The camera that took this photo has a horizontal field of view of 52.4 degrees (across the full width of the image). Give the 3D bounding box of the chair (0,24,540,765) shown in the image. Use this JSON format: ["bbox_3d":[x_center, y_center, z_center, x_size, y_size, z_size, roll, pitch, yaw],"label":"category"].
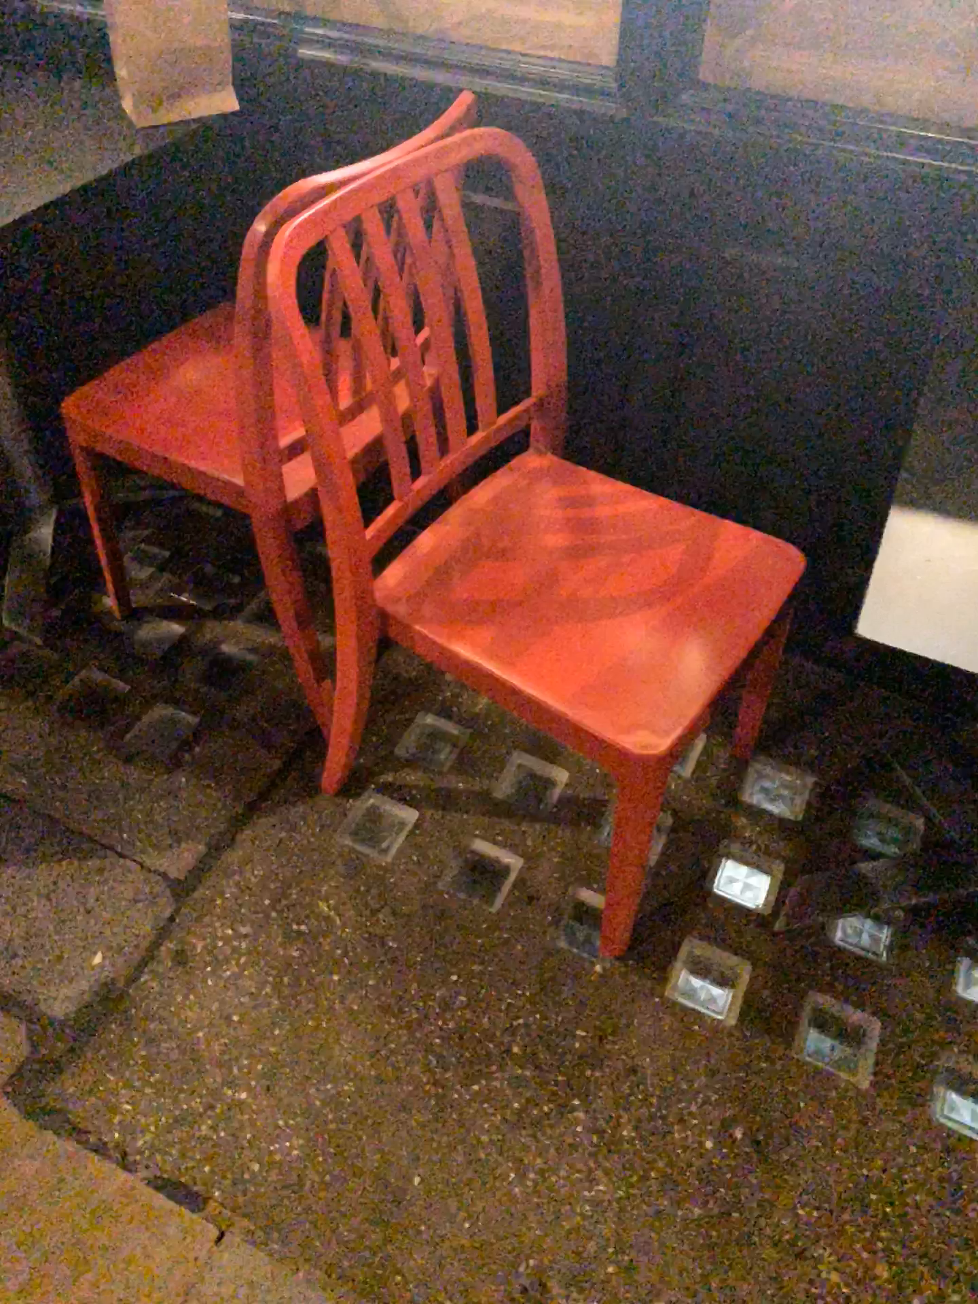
[{"bbox_3d":[-0.310,-0.386,1.535,0.541,0.852,0.544,21,47,18],"label":"chair"}]

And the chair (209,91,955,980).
[{"bbox_3d":[0.111,-0.147,1.303,0.562,0.852,0.574,24,47,20],"label":"chair"}]
